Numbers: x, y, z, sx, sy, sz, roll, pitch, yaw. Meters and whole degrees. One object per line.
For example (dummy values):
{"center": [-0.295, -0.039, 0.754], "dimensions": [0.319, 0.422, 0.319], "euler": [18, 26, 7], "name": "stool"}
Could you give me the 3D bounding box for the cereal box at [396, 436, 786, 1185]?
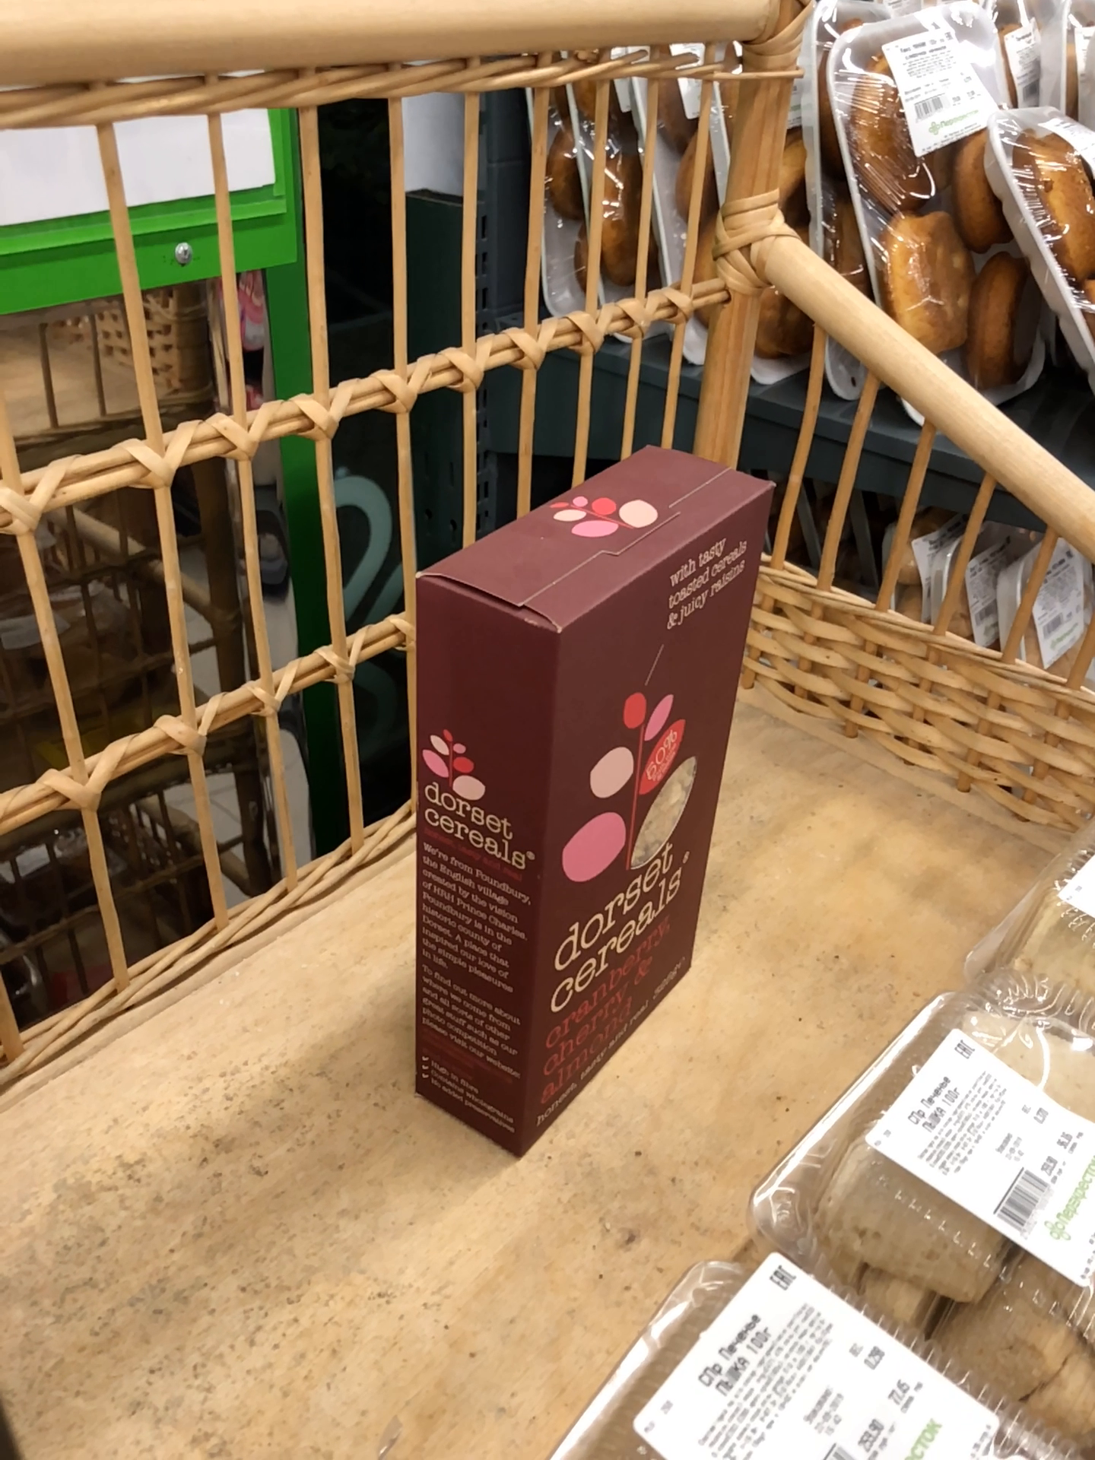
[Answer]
{"center": [0.013, 0.028, 0.392], "dimensions": [0.050, 0.209, 0.121], "euler": [23, 39, 27], "name": "cereal box"}
